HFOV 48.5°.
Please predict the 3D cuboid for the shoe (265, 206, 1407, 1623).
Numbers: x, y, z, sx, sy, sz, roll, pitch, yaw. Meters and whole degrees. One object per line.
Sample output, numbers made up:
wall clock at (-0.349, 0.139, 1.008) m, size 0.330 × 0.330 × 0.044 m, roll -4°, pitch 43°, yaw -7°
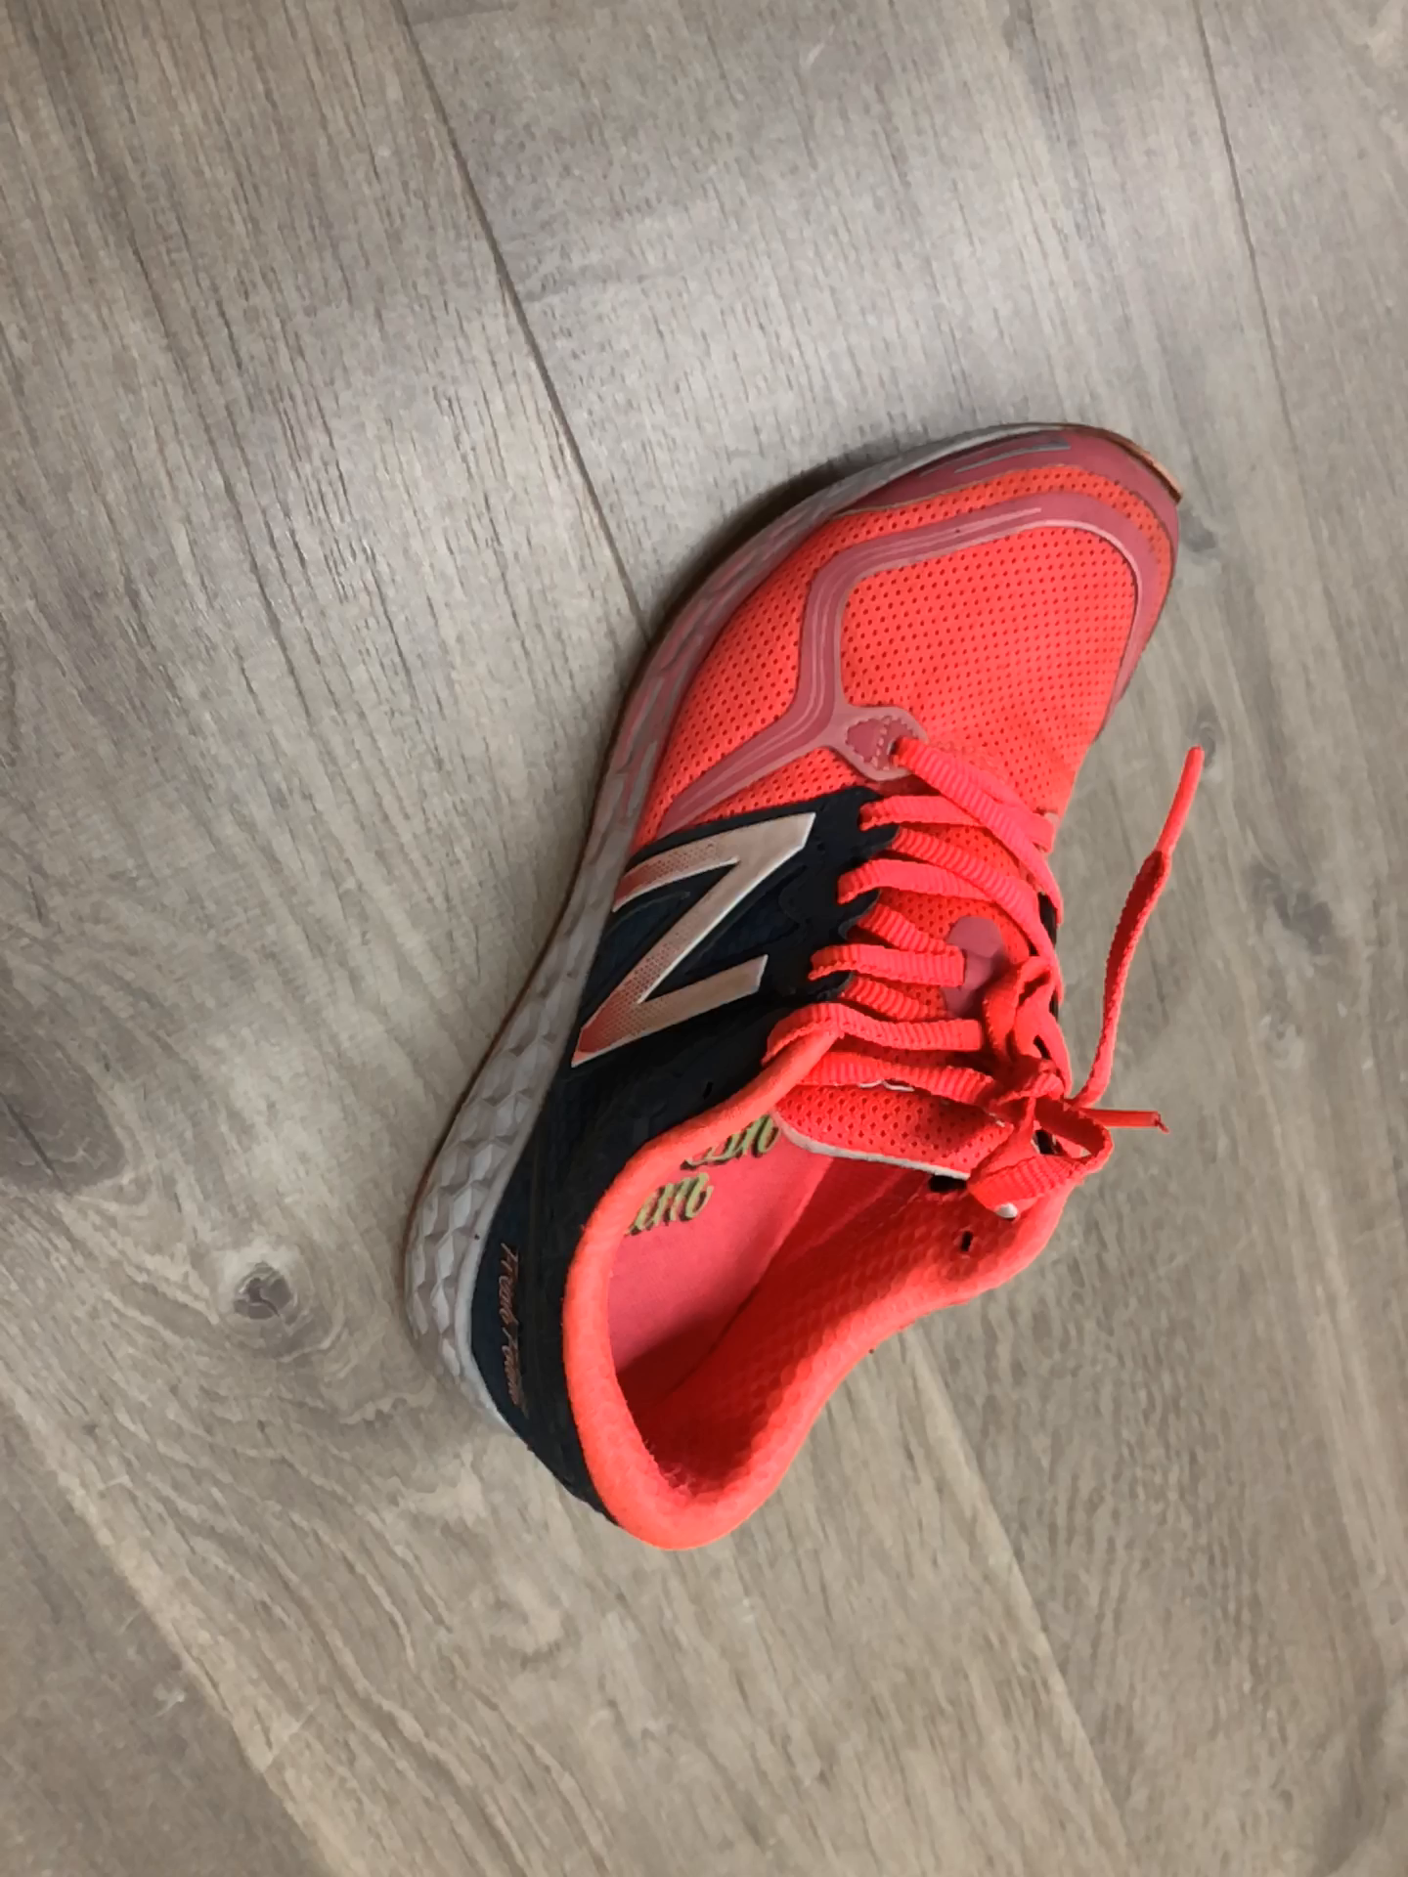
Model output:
shoe at (0.026, -0.008, 0.328) m, size 0.100 × 0.110 × 0.240 m, roll 34°, pitch 85°, yaw -28°
